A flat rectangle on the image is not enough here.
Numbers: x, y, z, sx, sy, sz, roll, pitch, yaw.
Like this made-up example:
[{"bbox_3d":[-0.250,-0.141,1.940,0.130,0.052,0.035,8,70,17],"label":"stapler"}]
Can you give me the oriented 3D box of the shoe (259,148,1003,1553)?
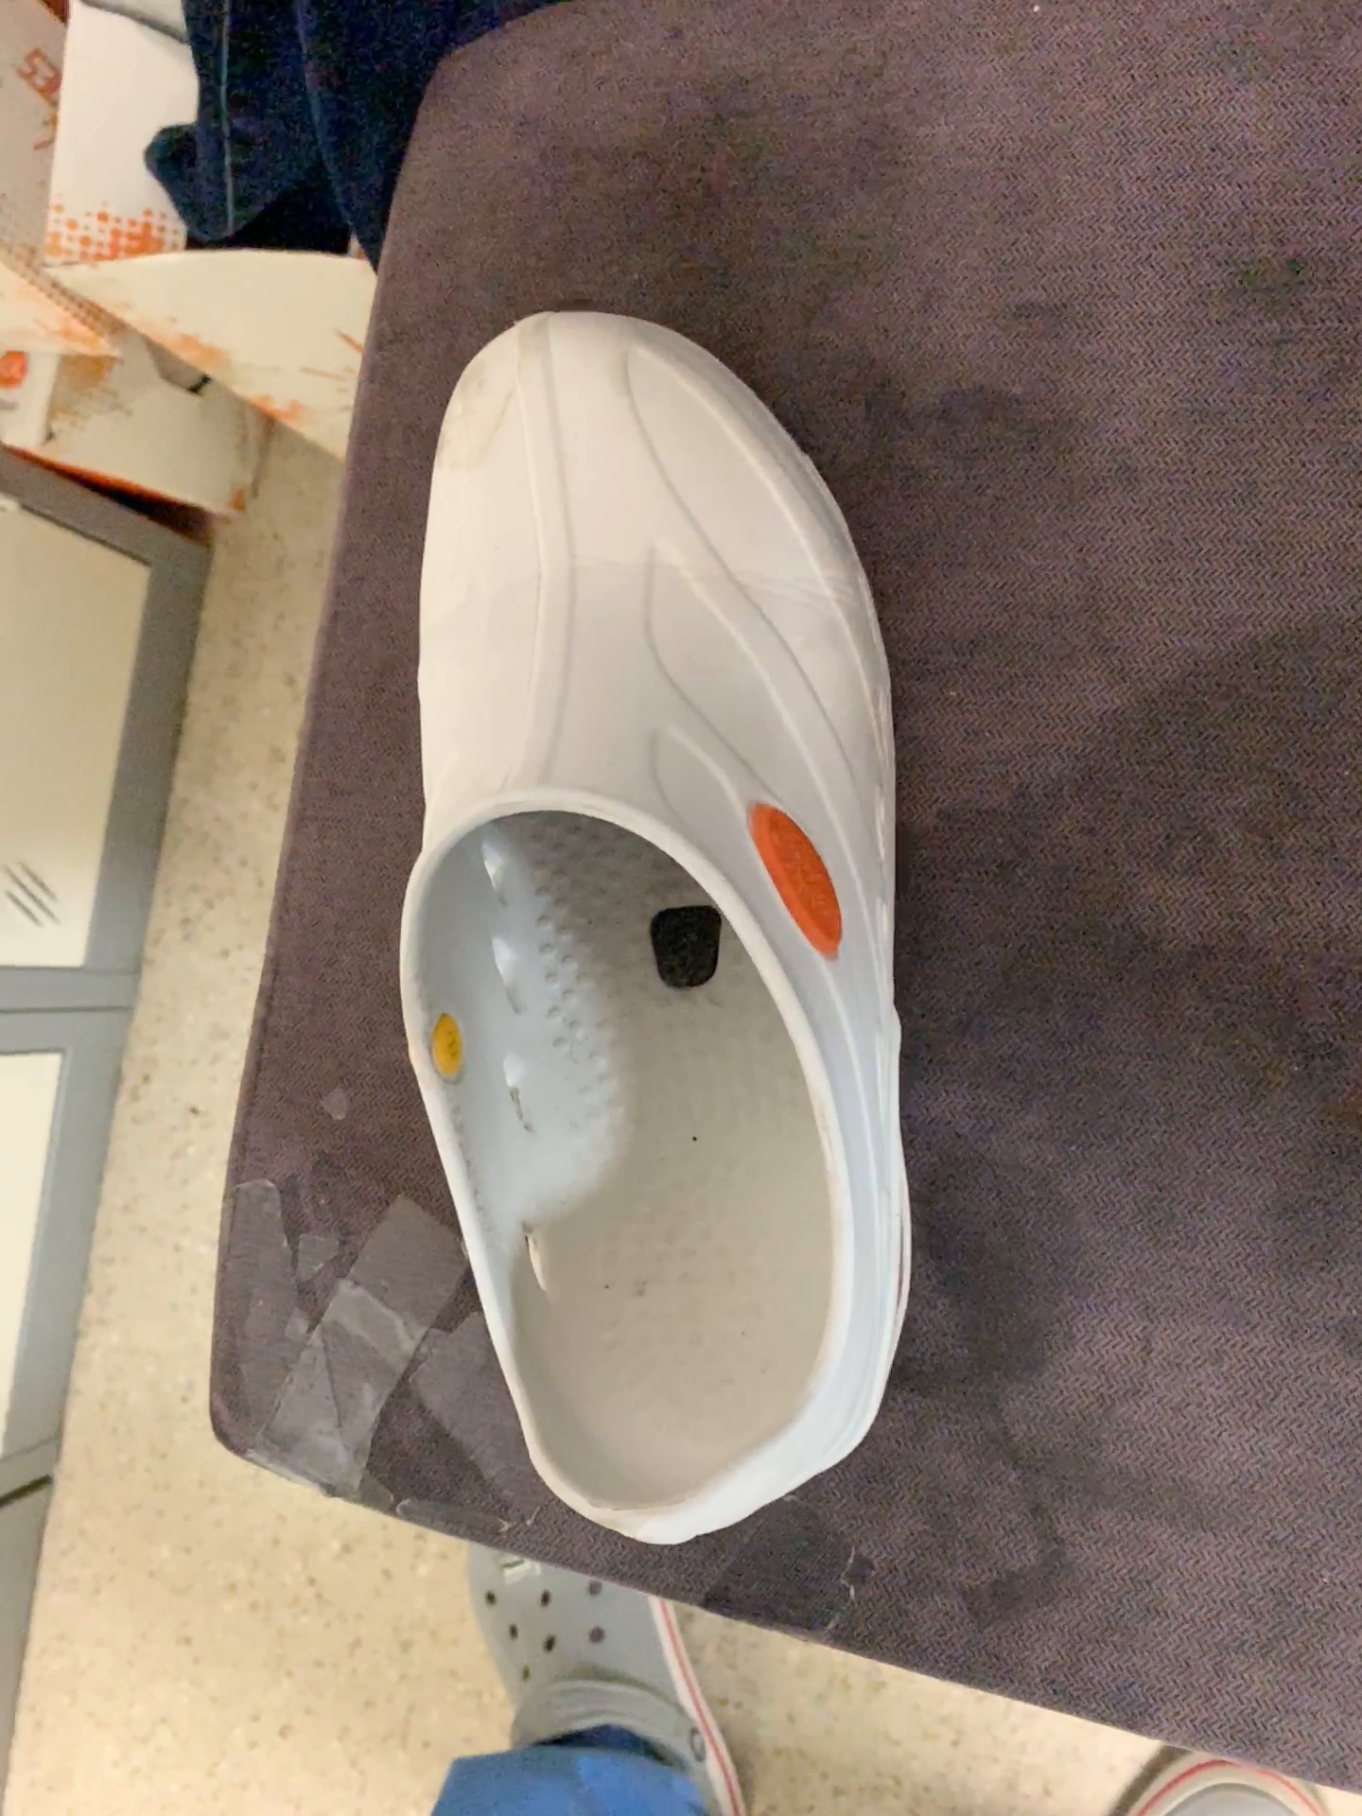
[{"bbox_3d":[-0.004,-0.006,0.268,0.091,0.093,0.213,-9,84,16],"label":"shoe"}]
